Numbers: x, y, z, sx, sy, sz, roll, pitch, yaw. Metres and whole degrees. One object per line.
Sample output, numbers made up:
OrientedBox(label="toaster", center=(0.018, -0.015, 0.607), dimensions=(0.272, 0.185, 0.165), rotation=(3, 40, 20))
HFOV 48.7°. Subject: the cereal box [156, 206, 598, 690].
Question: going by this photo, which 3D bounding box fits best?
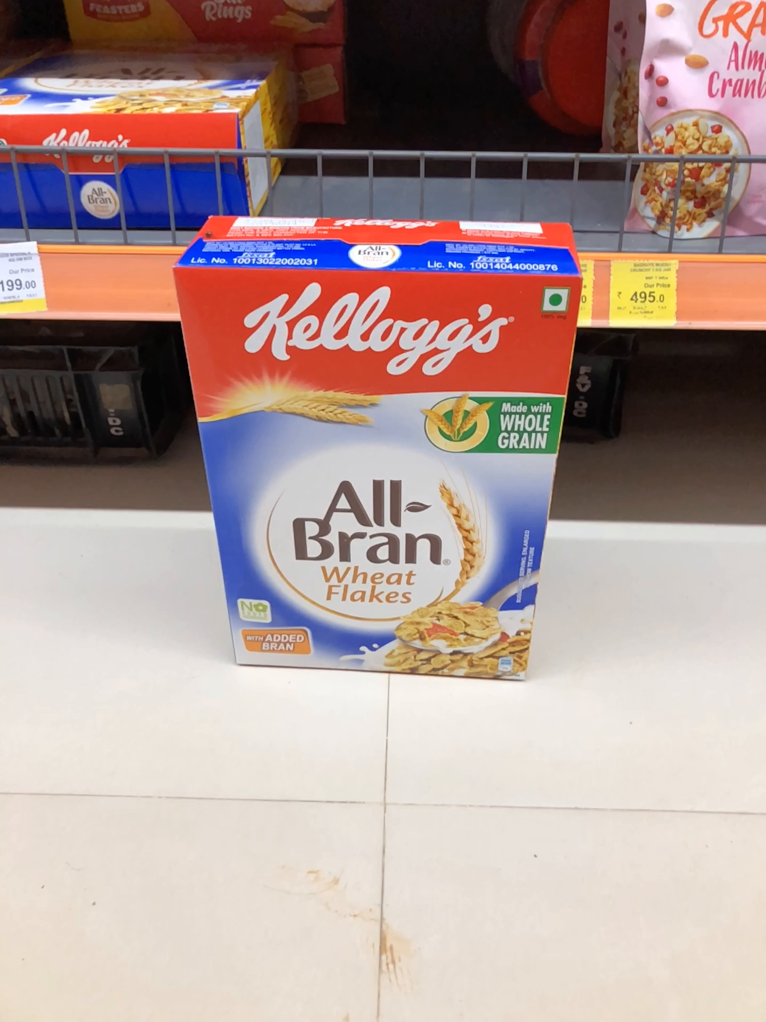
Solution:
OrientedBox(label="cereal box", center=(-0.001, -0.024, 0.471), dimensions=(0.190, 0.258, 0.081), rotation=(2, 37, 3))
